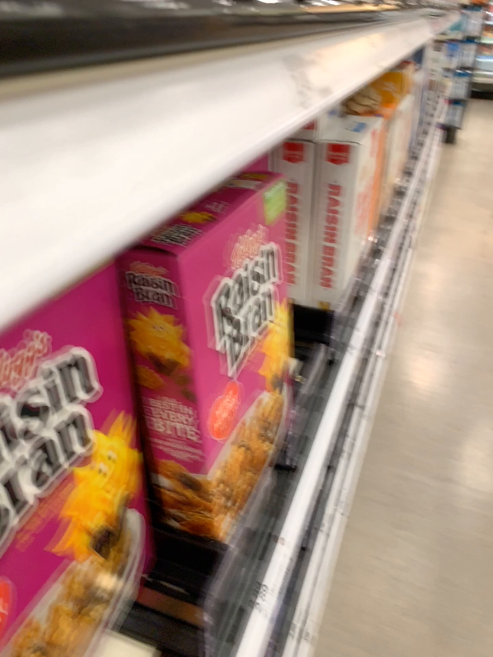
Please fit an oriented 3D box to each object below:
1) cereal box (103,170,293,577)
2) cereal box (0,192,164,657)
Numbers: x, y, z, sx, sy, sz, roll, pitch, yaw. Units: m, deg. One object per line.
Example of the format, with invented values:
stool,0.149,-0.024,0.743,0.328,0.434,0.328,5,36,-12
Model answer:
cereal box,-0.015,0.032,0.434,0.050,0.279,0.201,8,33,20
cereal box,-0.138,0.110,0.270,0.060,0.299,0.221,10,33,18
